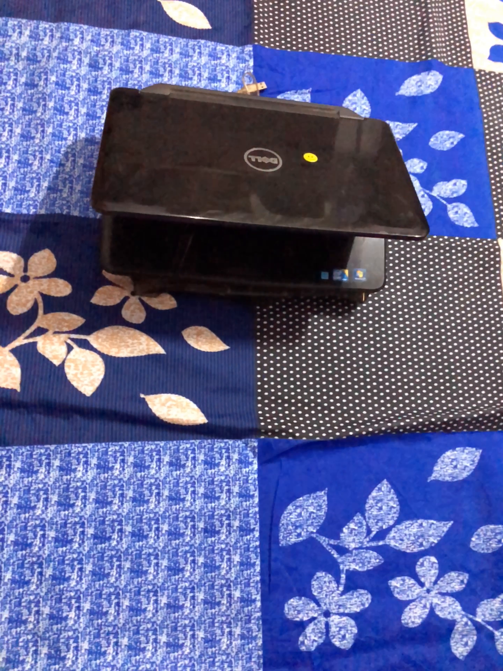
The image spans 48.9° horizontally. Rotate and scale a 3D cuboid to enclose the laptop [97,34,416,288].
[{"bbox_3d":[0.010,-0.201,0.678,0.362,0.092,0.236,3,80,-10],"label":"laptop"}]
